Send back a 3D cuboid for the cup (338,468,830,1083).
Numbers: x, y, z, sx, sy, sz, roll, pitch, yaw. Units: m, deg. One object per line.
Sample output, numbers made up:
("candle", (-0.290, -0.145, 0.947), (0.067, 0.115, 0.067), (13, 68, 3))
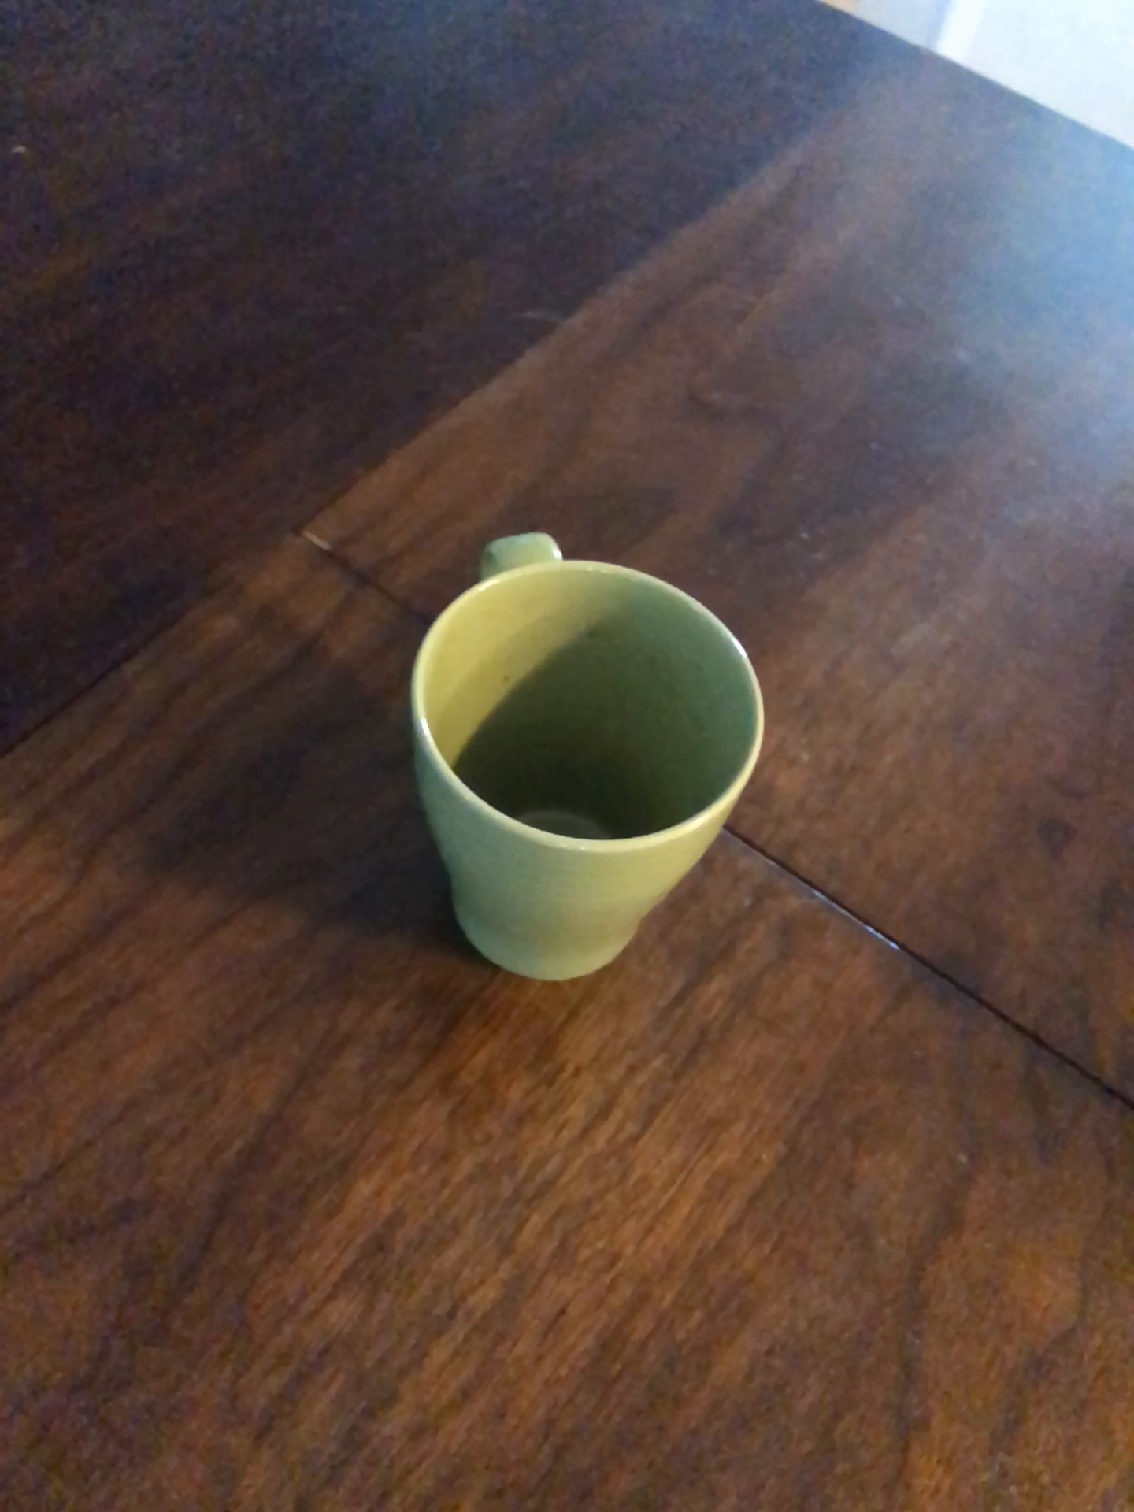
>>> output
("cup", (-0.005, 0.004, 0.327), (0.090, 0.090, 0.120), (-7, 57, -12))
